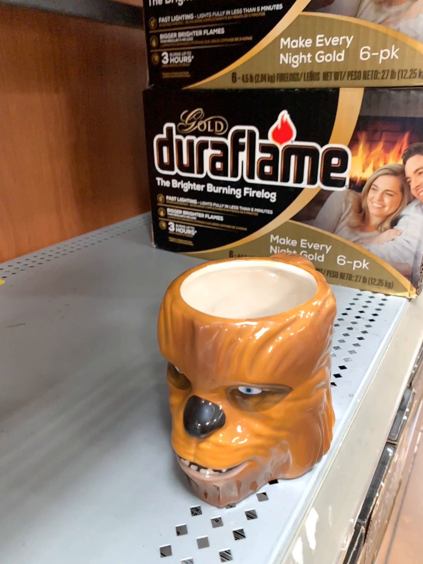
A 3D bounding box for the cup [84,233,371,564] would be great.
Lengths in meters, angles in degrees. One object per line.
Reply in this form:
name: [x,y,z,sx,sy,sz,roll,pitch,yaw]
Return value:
cup: [0.018,0.062,0.259,0.098,0.138,0.132,14,28,31]
